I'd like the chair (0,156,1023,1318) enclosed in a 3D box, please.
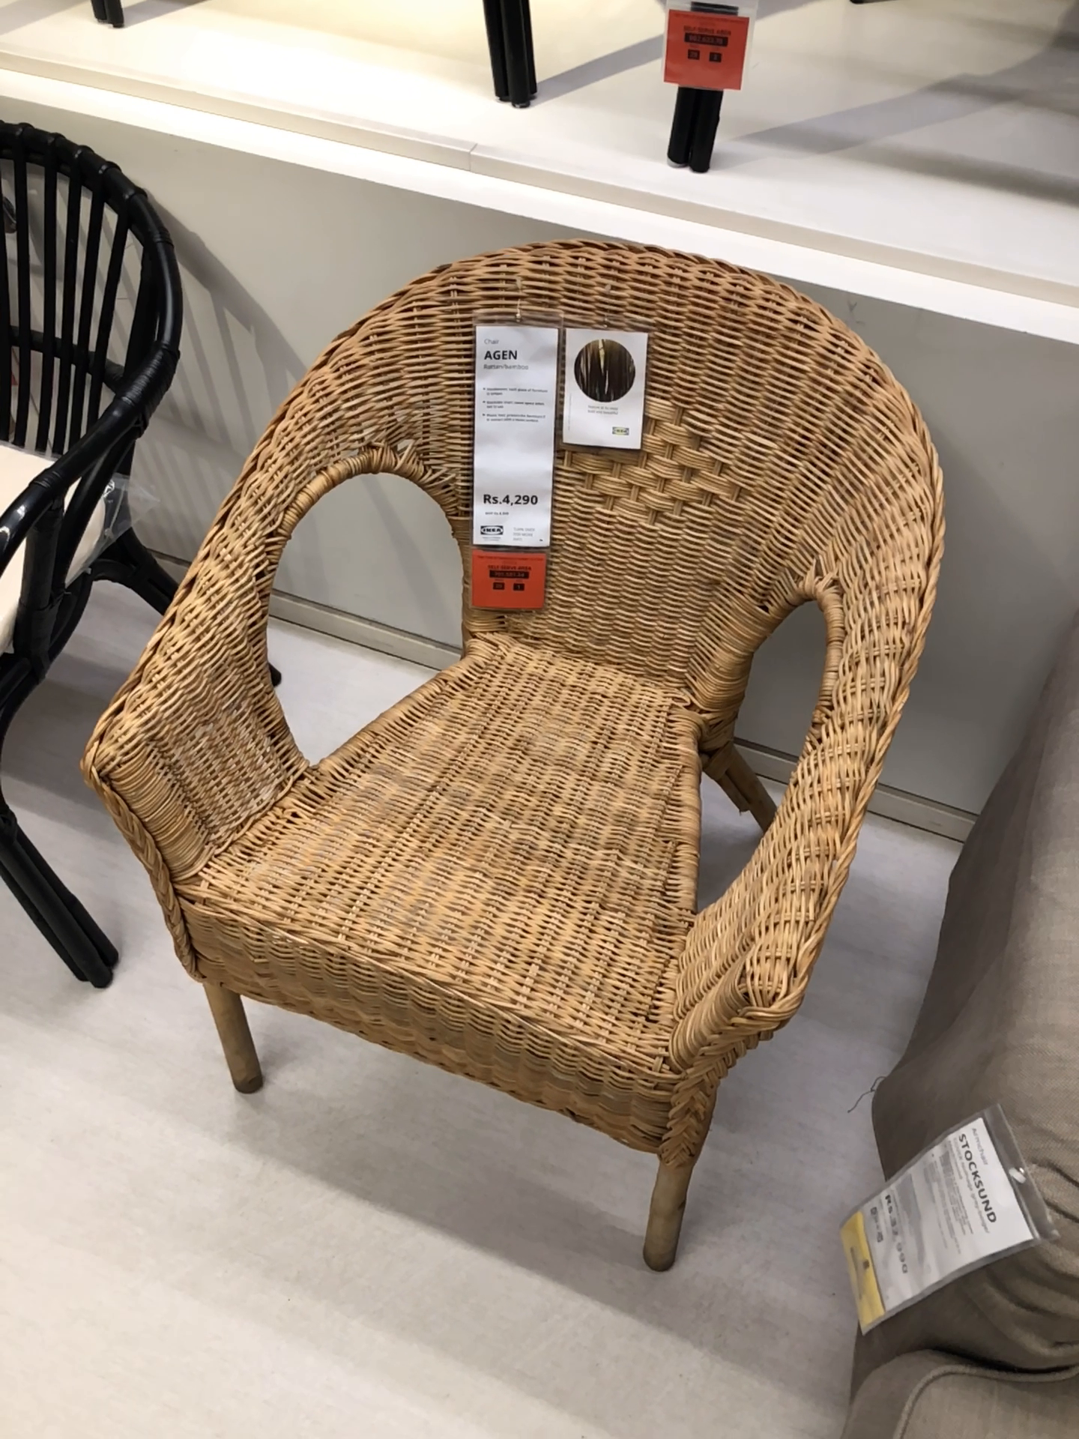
[{"bbox_3d":[-0.008,0.033,1.052,0.551,0.696,0.603,18,54,13],"label":"chair"}]
